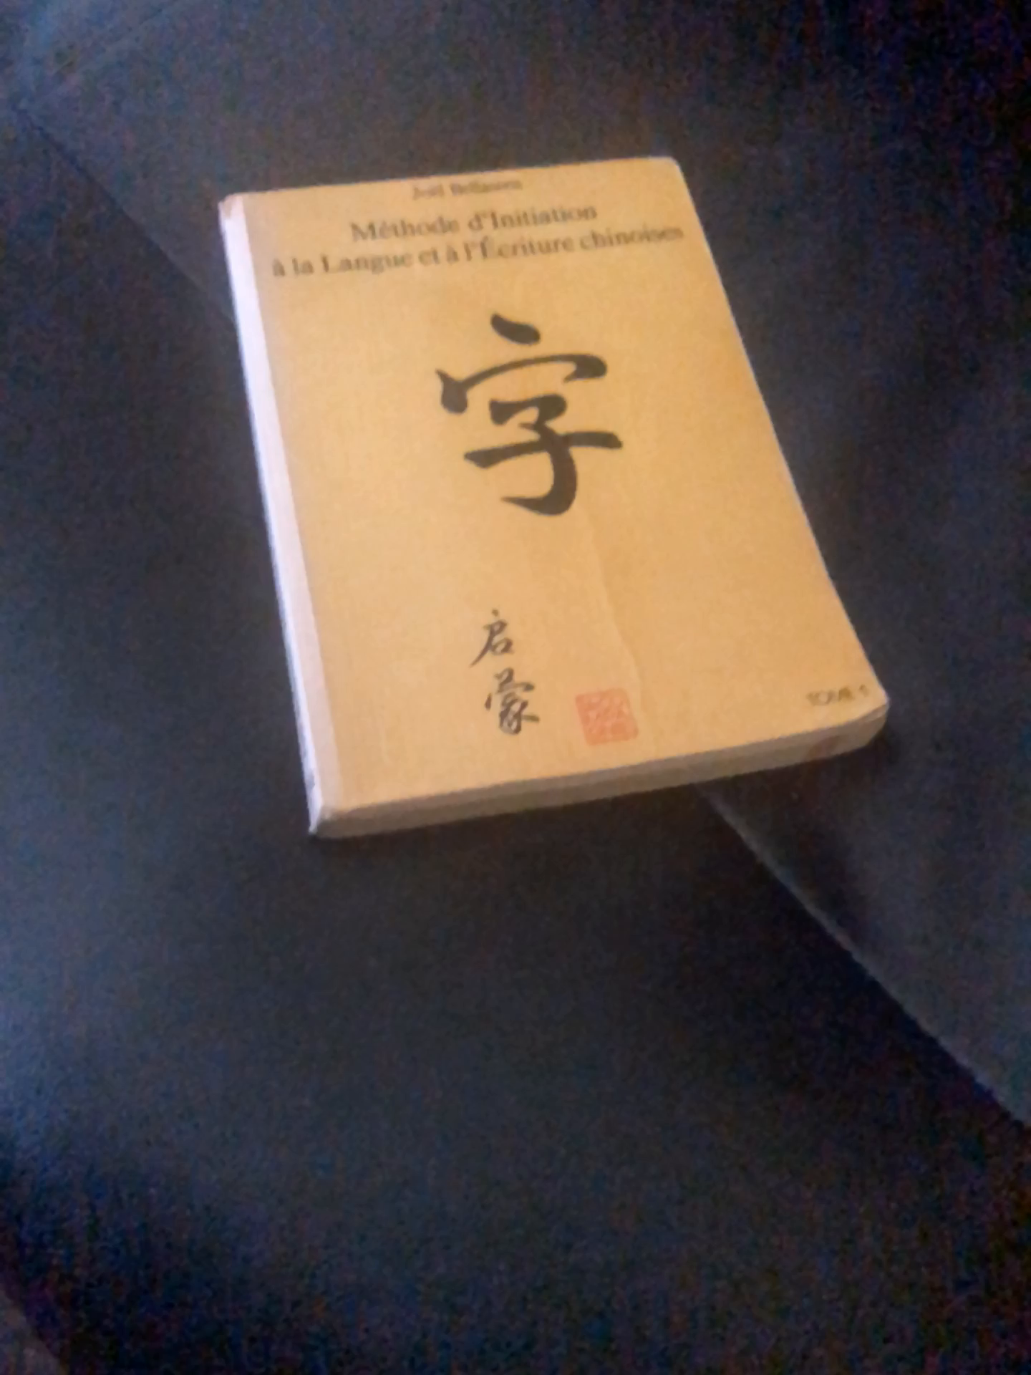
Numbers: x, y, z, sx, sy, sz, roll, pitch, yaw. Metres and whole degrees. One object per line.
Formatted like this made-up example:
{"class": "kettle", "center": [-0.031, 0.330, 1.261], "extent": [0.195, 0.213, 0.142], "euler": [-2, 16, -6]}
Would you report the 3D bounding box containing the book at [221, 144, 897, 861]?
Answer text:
{"class": "book", "center": [0.000, -0.070, 0.344], "extent": [0.152, 0.028, 0.221], "euler": [-9, 63, -7]}
